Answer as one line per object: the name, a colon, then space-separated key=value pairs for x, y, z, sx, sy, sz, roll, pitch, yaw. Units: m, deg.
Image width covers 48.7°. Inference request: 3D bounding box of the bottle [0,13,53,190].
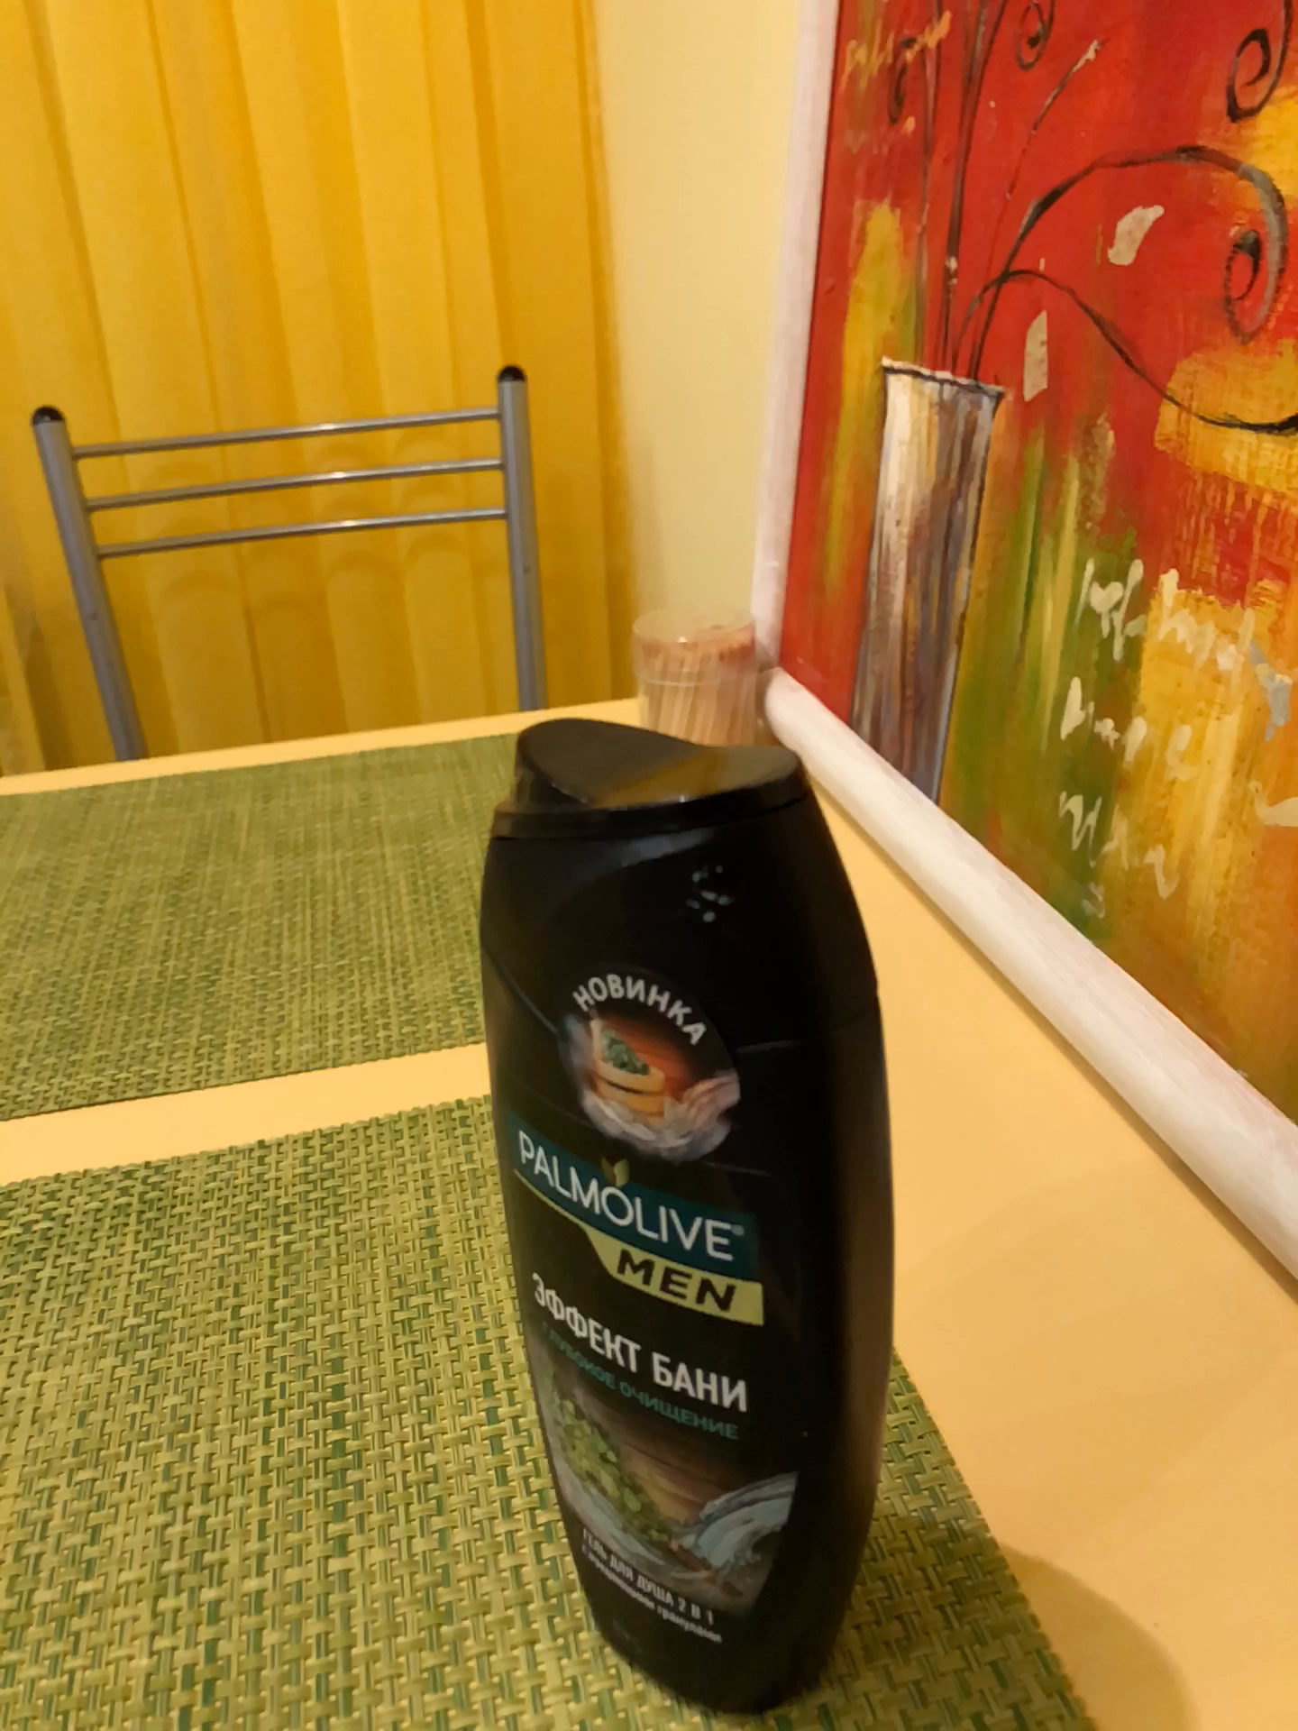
bottle: x=-1.355 y=-1.606 z=3.028 sx=0.099 sy=0.318 sz=0.107 roll=-3 pitch=24 yaw=1
